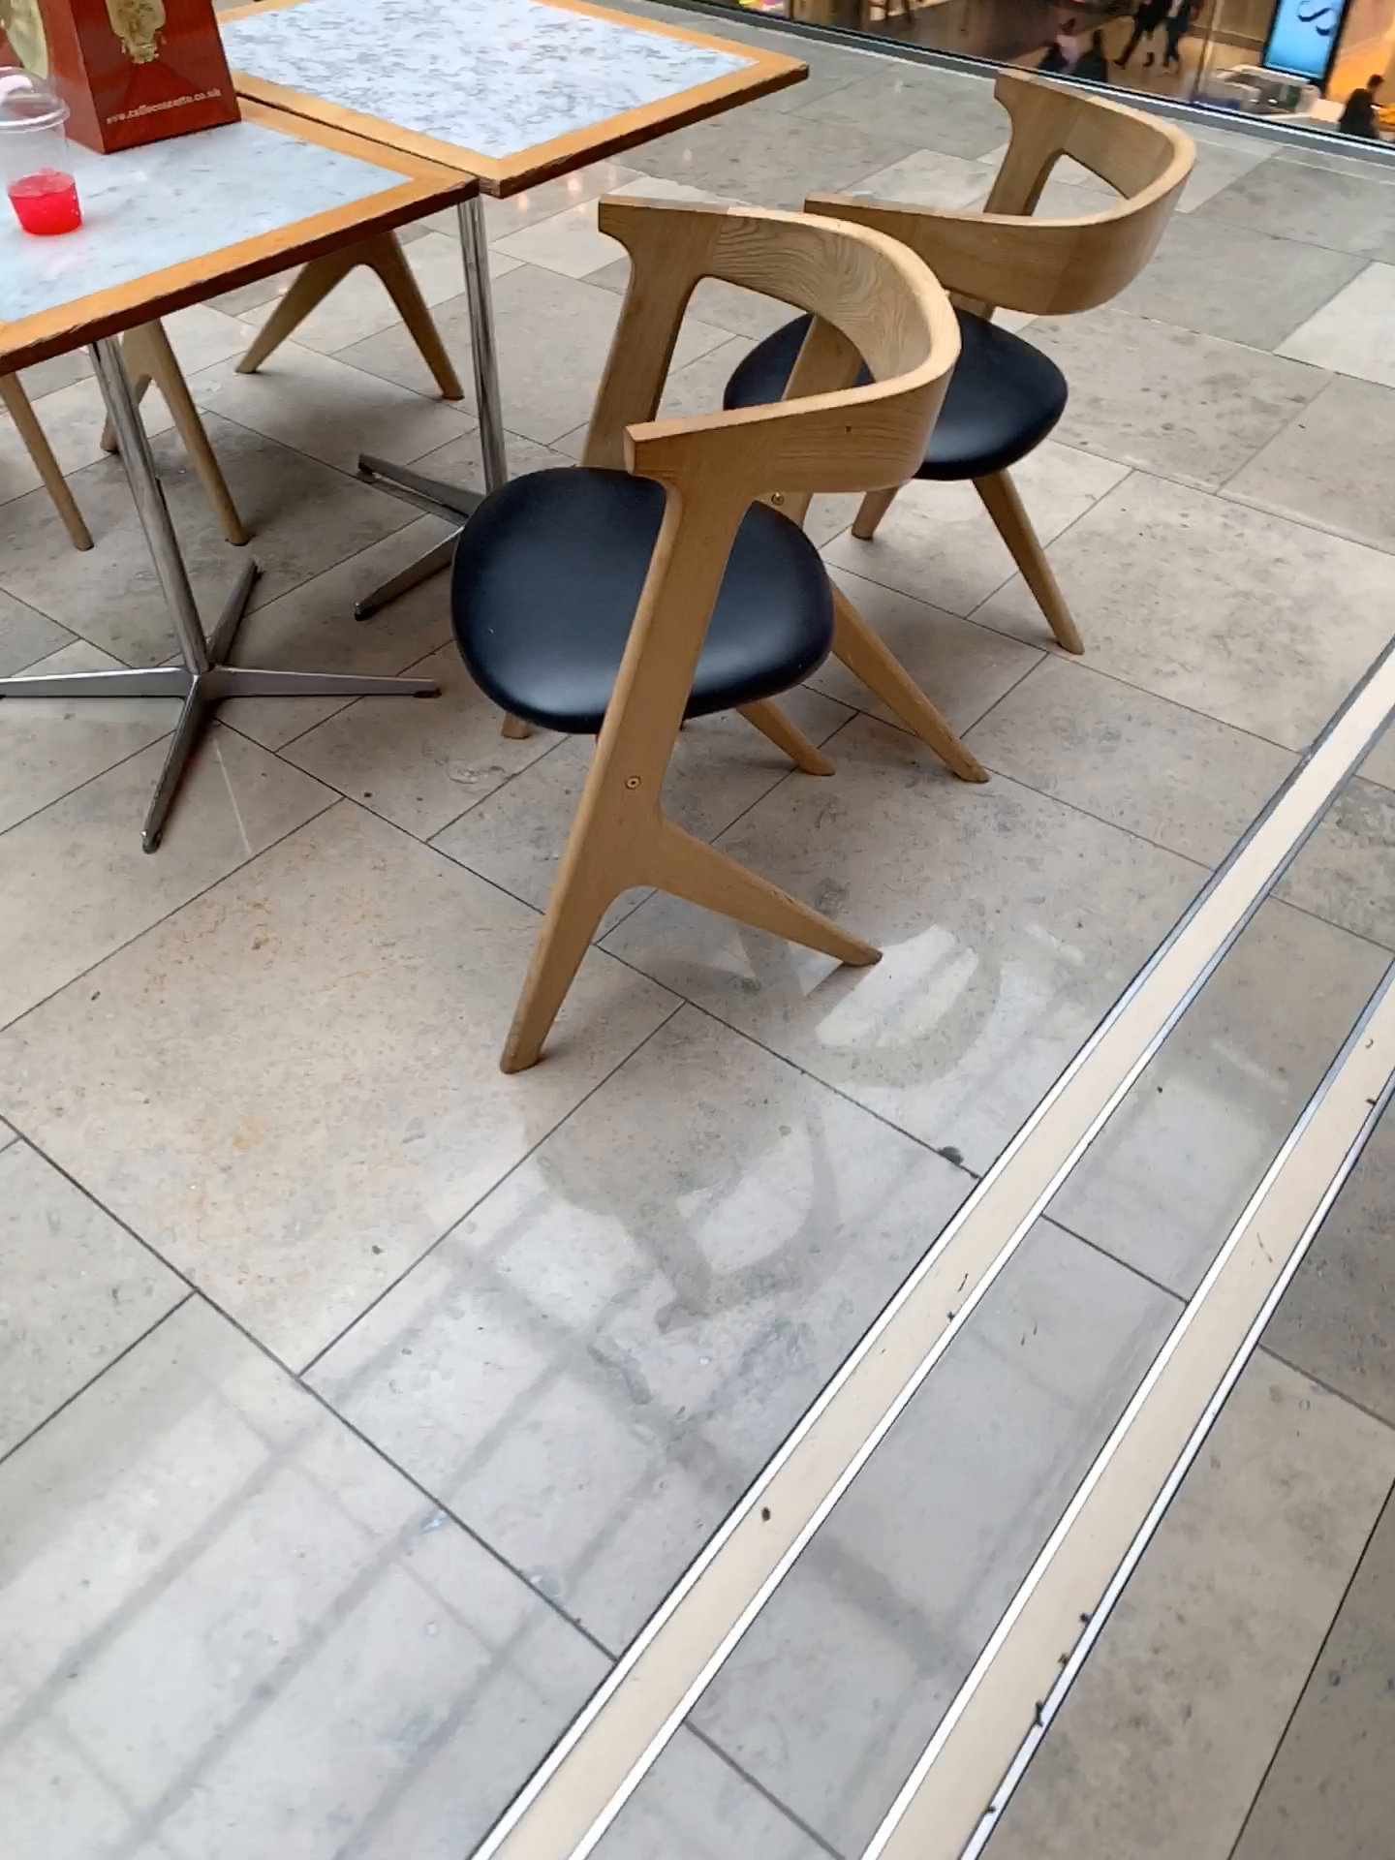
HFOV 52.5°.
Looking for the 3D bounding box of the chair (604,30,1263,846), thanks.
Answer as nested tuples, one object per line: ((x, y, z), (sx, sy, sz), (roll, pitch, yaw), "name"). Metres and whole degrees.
((0.287, -0.653, 1.855), (0.530, 0.717, 0.638), (23, 50, 20), "chair")

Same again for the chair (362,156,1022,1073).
((-0.039, -0.341, 1.542), (0.499, 0.707, 0.649), (-5, 46, -5), "chair")
